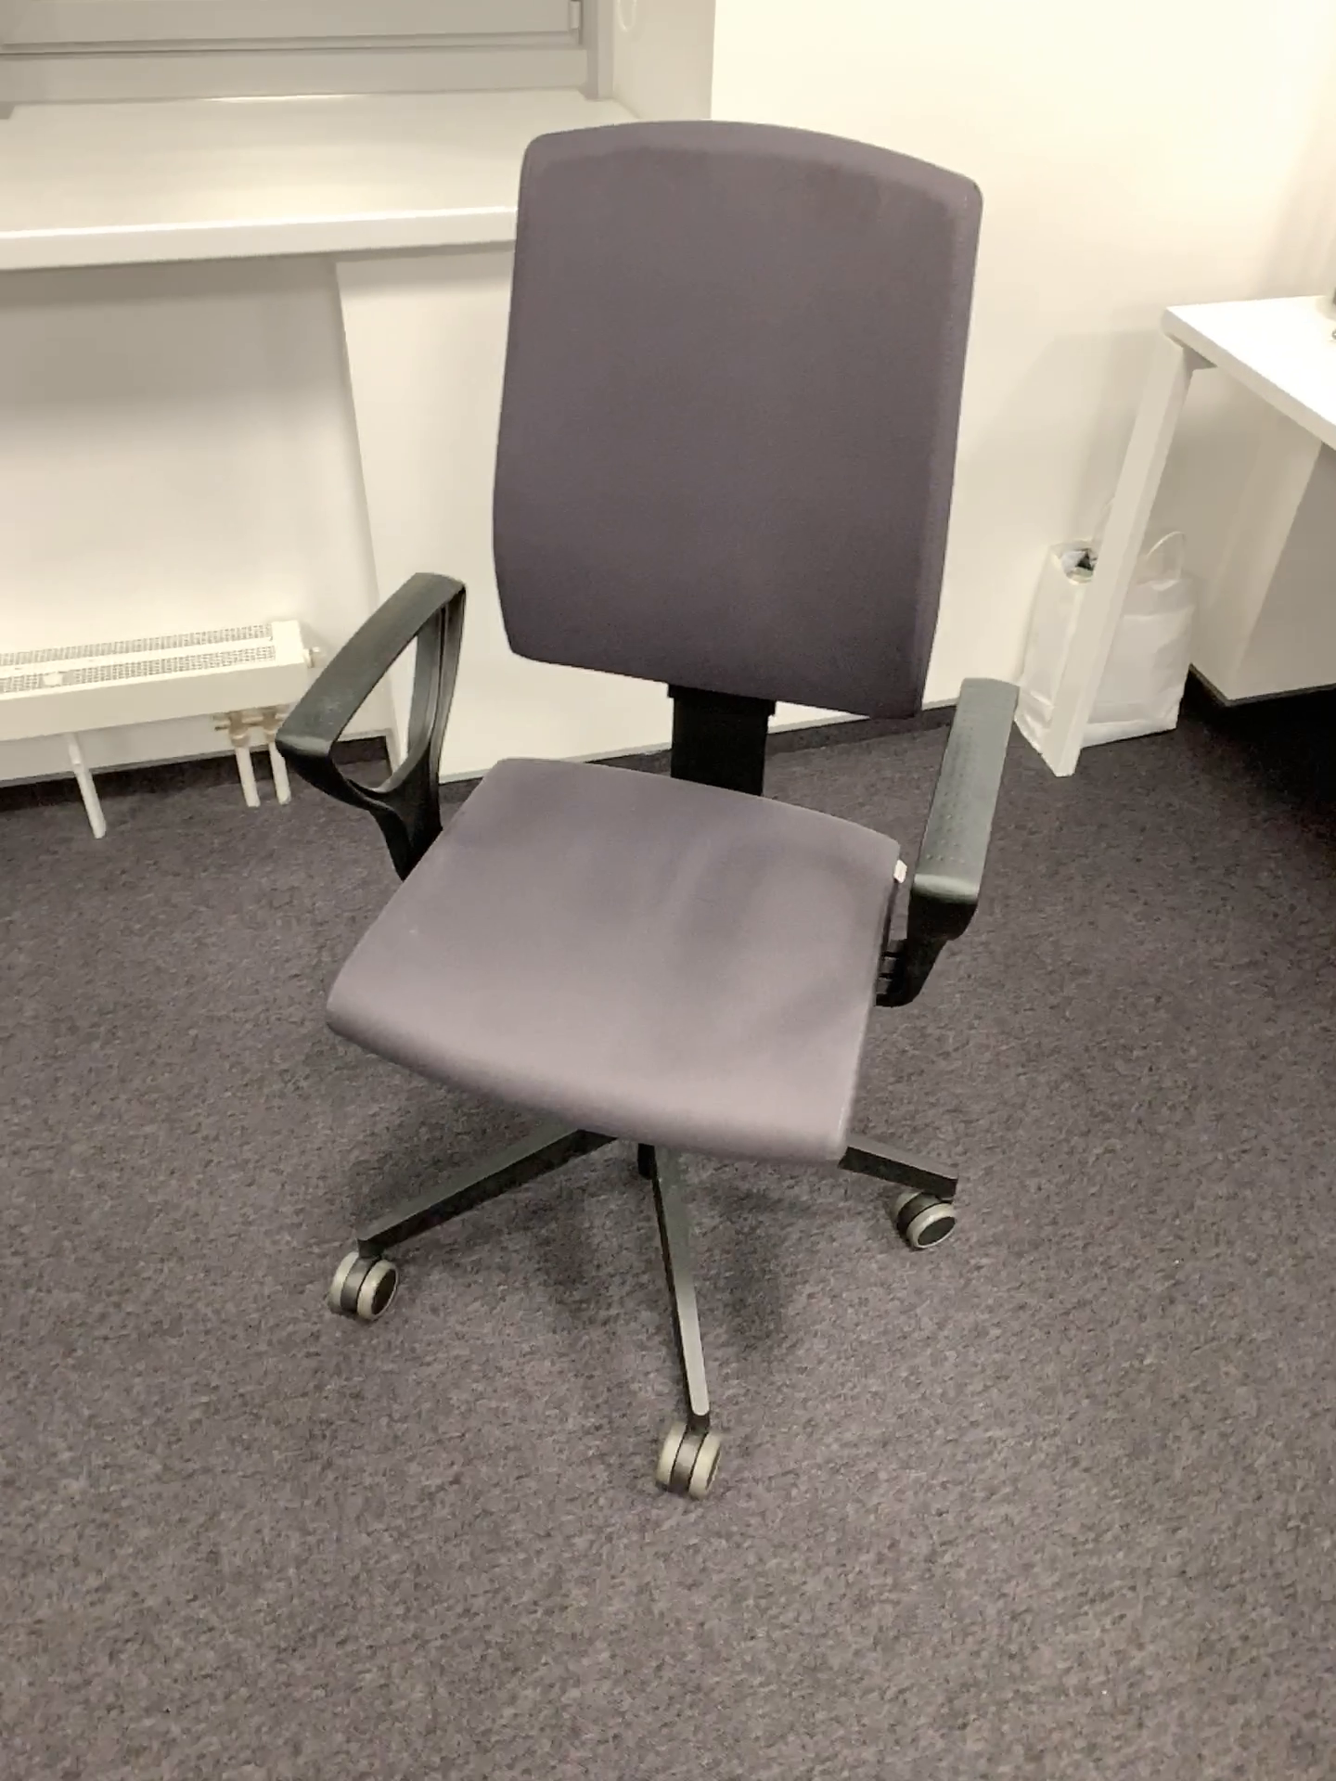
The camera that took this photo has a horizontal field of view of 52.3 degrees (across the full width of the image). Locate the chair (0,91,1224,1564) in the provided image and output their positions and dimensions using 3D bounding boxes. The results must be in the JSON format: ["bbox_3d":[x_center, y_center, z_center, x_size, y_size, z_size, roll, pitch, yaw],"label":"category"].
[{"bbox_3d":[0.010,-0.057,1.301,0.700,1.045,0.754,13,43,11],"label":"chair"}]
